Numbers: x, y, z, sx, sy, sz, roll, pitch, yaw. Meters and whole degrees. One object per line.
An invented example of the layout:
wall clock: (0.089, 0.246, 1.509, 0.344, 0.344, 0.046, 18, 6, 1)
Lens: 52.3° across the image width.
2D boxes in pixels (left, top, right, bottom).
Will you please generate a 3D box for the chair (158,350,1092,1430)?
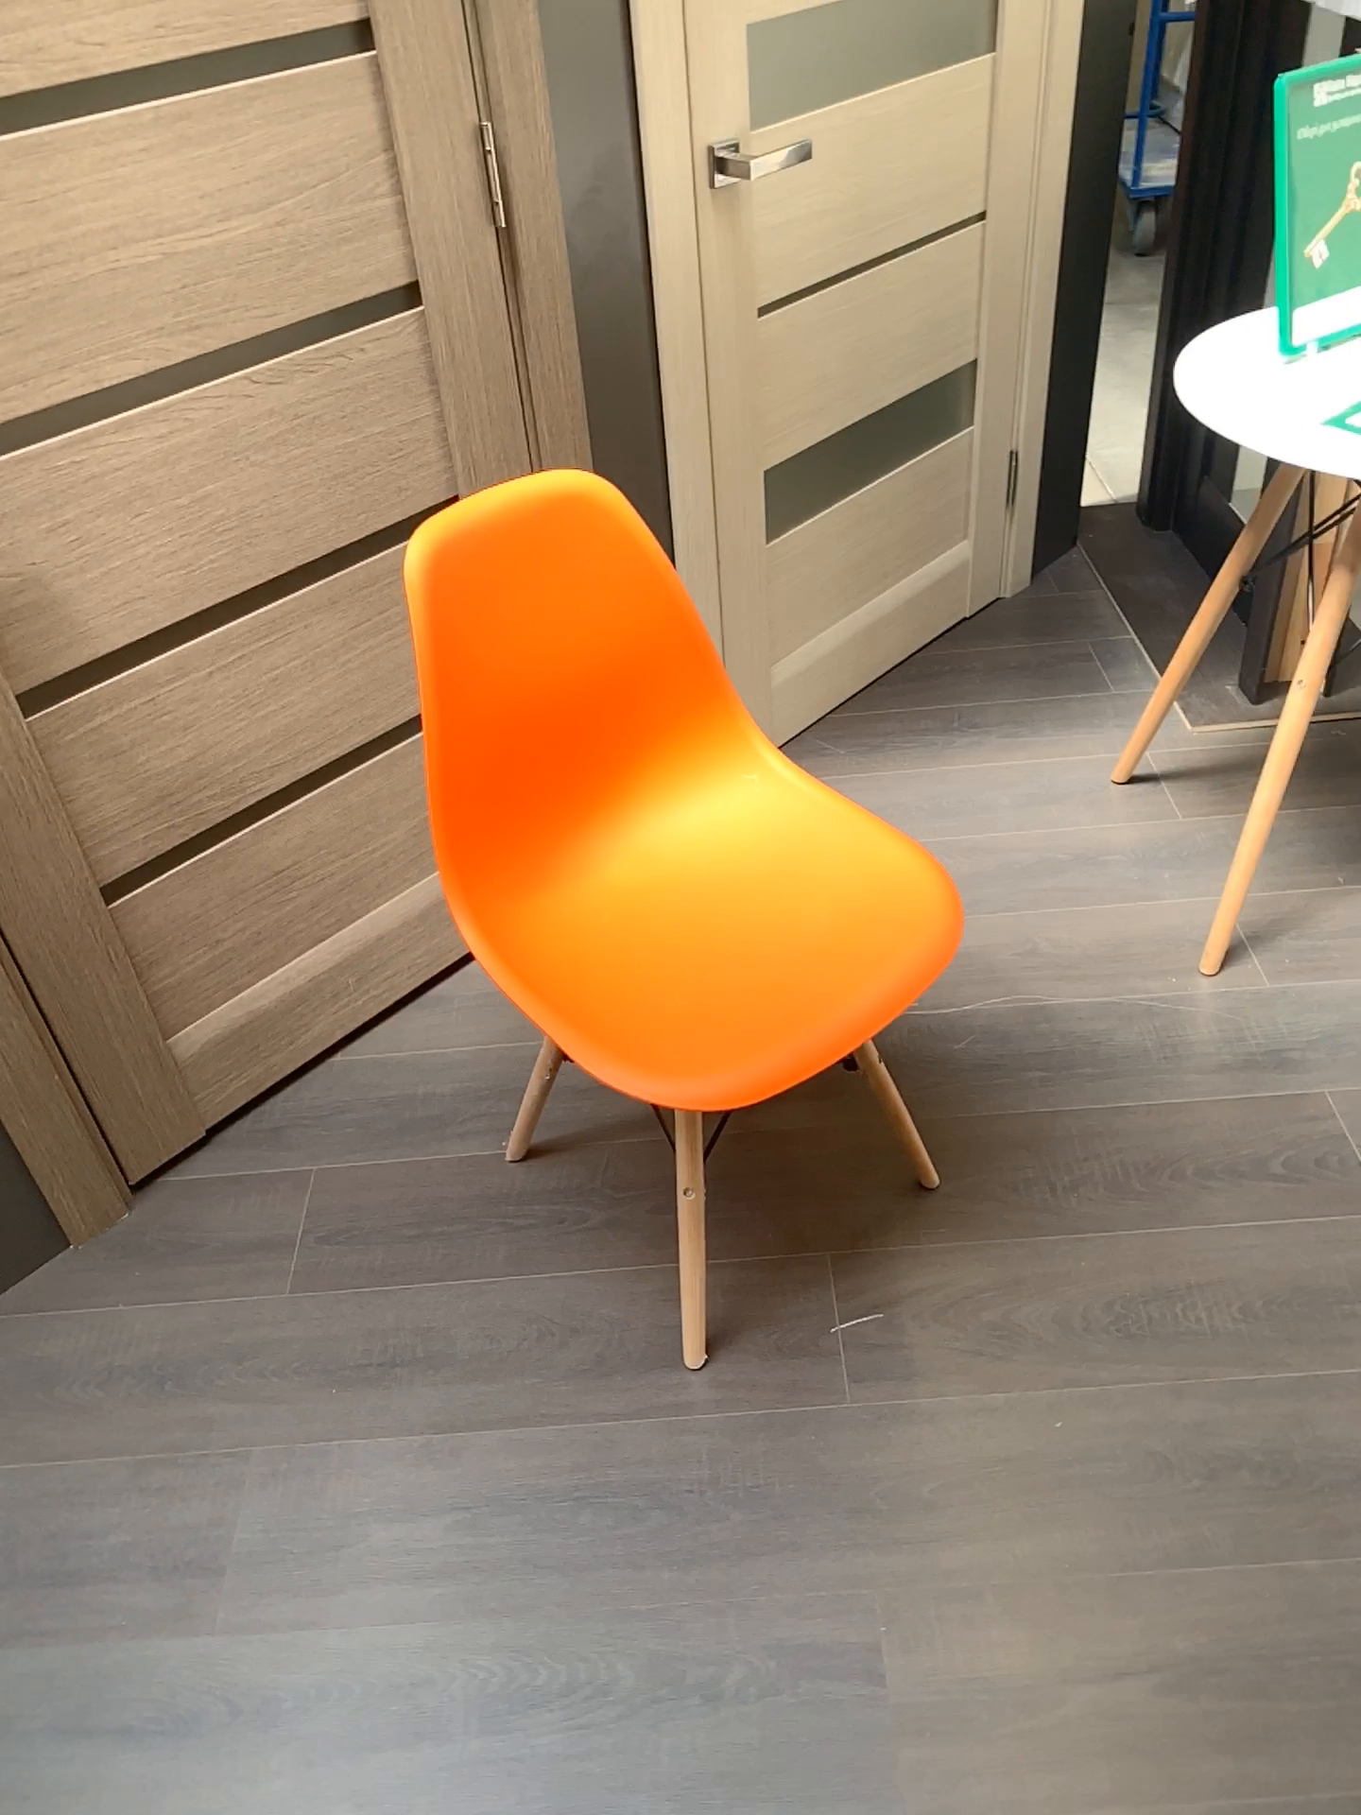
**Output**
chair: (-0.026, -0.041, 1.318, 0.531, 0.716, 0.522, -32, 46, -29)
